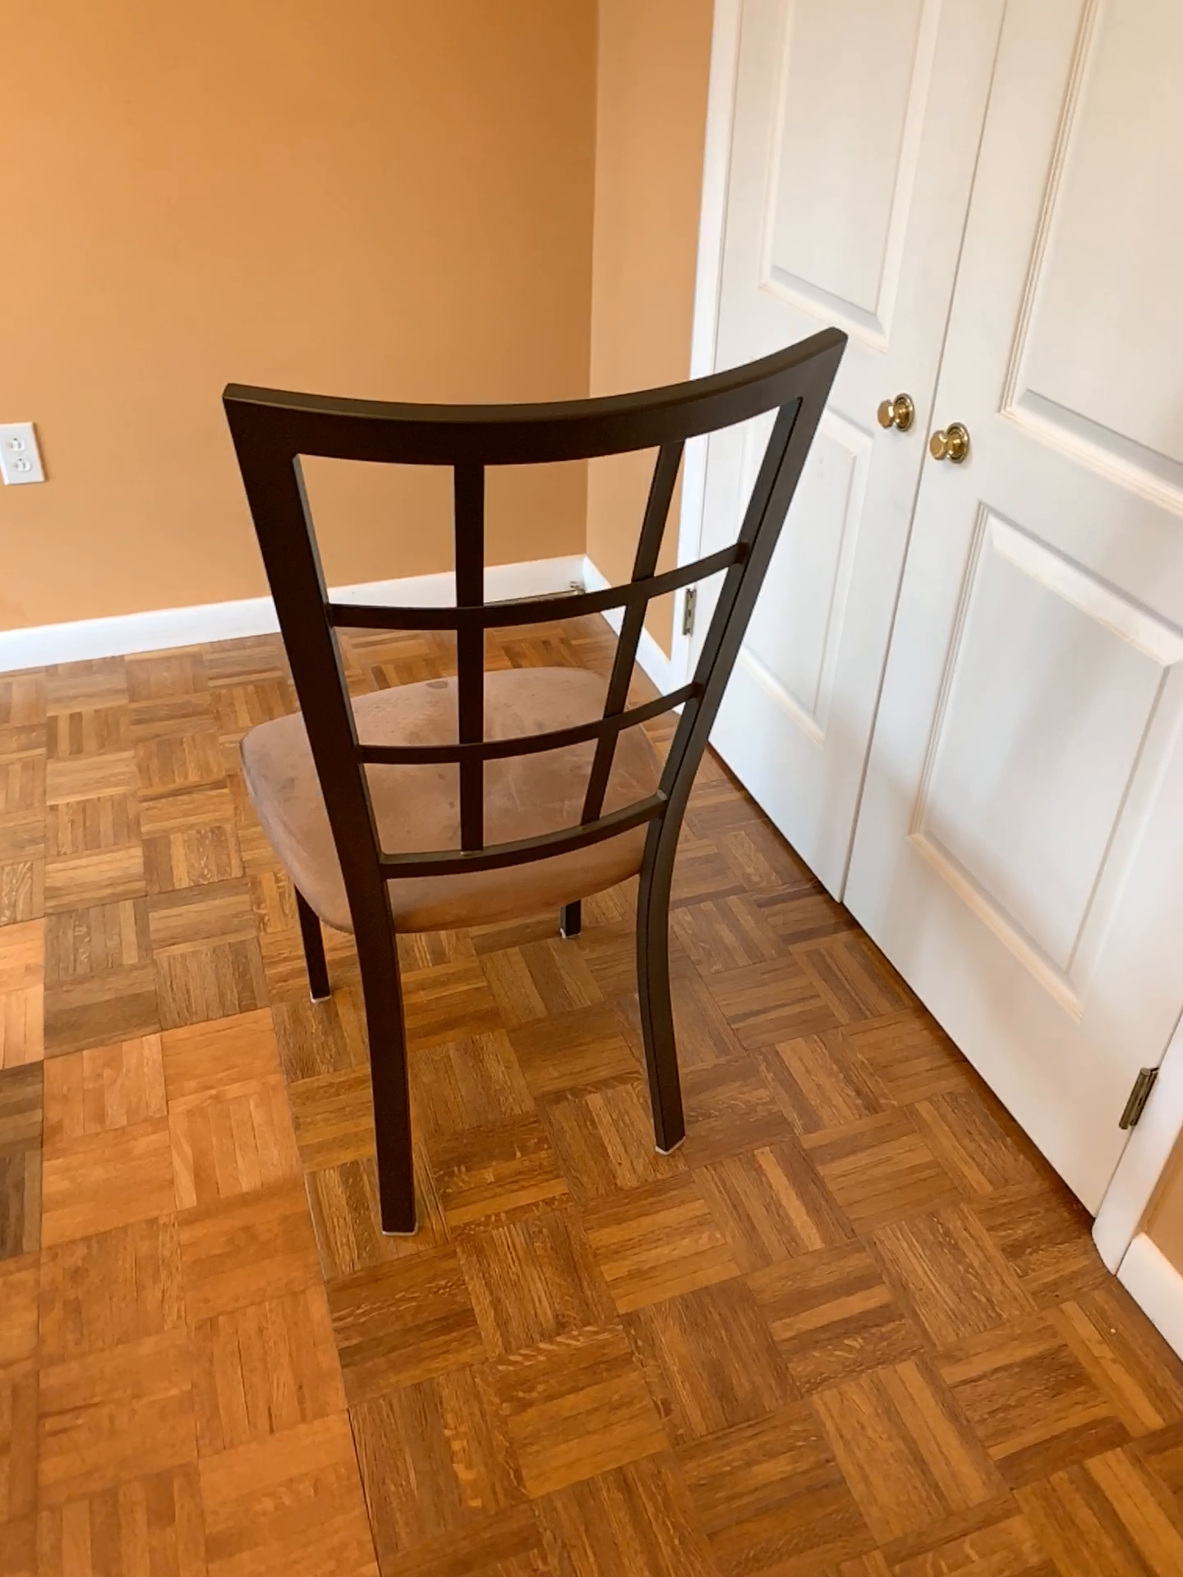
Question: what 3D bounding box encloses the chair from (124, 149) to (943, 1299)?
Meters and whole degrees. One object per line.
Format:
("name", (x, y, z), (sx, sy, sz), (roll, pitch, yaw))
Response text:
("chair", (-0.119, -0.071, 1.299), (0.510, 0.984, 0.623), (-11, 40, -17))
